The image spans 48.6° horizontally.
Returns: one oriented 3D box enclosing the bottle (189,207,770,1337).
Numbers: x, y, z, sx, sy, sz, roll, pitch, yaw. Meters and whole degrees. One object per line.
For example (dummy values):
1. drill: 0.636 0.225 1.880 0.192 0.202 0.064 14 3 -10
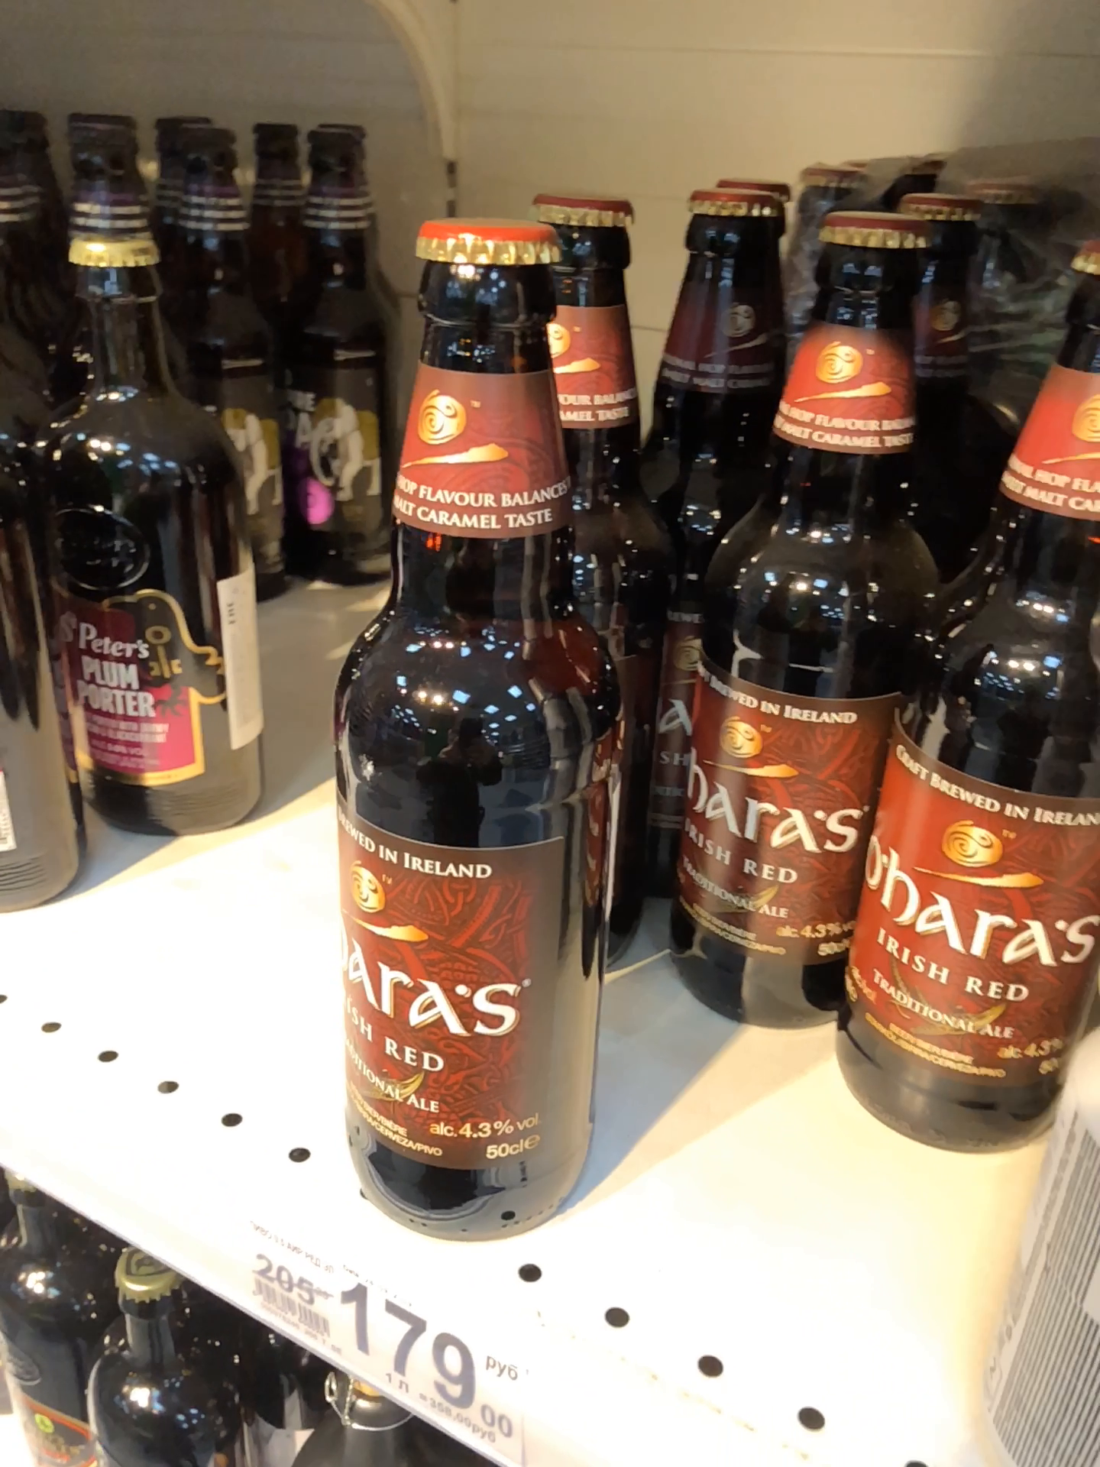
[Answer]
1. bottle: -0.018 0.011 0.292 0.080 0.246 0.080 2 27 -1
